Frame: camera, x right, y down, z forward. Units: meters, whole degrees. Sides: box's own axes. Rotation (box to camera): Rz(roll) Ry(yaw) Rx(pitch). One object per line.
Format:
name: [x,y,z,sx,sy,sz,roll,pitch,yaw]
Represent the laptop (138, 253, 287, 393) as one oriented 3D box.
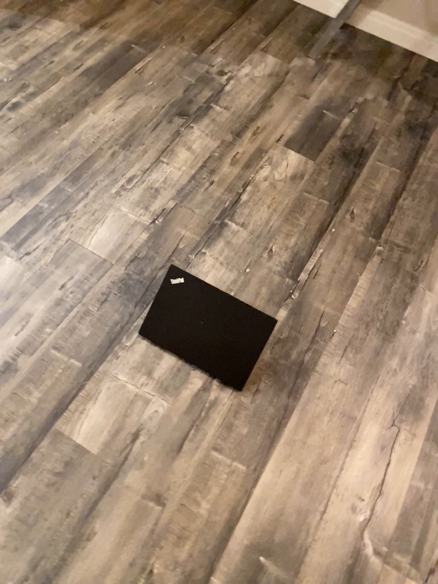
laptop: [-0.018,0.079,1.191,0.314,0.124,0.219,28,61,9]
